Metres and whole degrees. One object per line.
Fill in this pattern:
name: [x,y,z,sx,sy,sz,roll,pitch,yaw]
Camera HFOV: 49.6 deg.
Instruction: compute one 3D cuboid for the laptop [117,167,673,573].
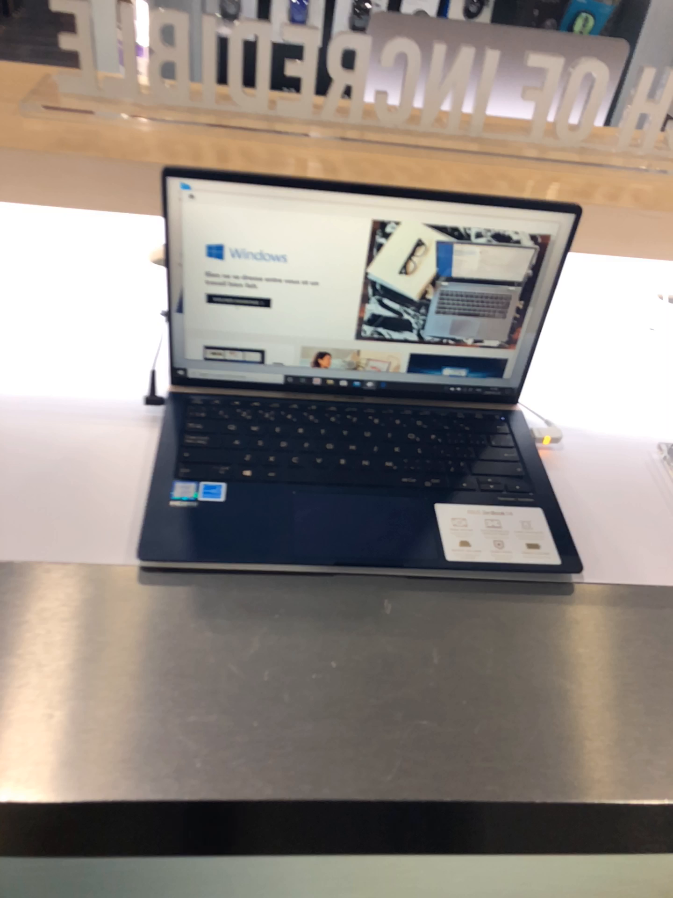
laptop: [0.028,-0.053,0.500,0.301,0.181,0.192,3,40,-8]
